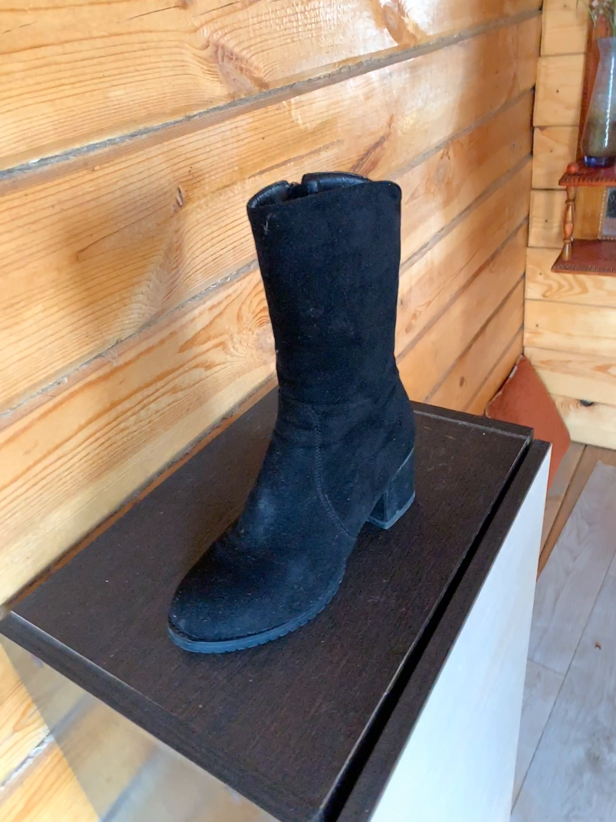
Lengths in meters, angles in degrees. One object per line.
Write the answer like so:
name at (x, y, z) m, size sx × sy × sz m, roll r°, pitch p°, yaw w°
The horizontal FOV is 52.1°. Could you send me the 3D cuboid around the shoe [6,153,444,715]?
shoe at (-0.015, 0.000, 0.411) m, size 0.100 × 0.268 × 0.233 m, roll 17°, pitch 40°, yaw 36°
